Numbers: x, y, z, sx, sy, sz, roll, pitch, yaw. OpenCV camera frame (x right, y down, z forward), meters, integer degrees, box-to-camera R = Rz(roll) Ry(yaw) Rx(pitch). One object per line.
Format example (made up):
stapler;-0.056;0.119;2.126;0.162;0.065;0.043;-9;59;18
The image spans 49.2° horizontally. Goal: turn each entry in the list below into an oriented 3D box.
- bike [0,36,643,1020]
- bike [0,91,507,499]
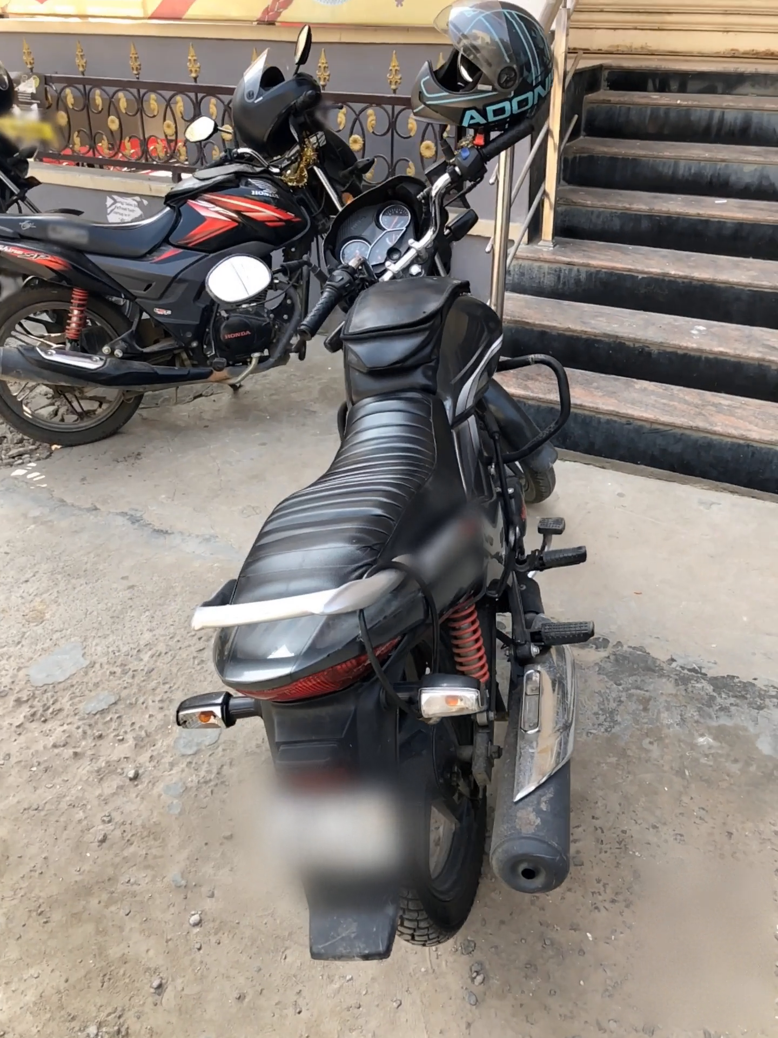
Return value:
bike;-0.116;-0.257;1.801;0.746;1.156;1.745;2;34;3
bike;-0.517;-0.832;2.877;1.600;1.056;0.686;-13;33;-24
